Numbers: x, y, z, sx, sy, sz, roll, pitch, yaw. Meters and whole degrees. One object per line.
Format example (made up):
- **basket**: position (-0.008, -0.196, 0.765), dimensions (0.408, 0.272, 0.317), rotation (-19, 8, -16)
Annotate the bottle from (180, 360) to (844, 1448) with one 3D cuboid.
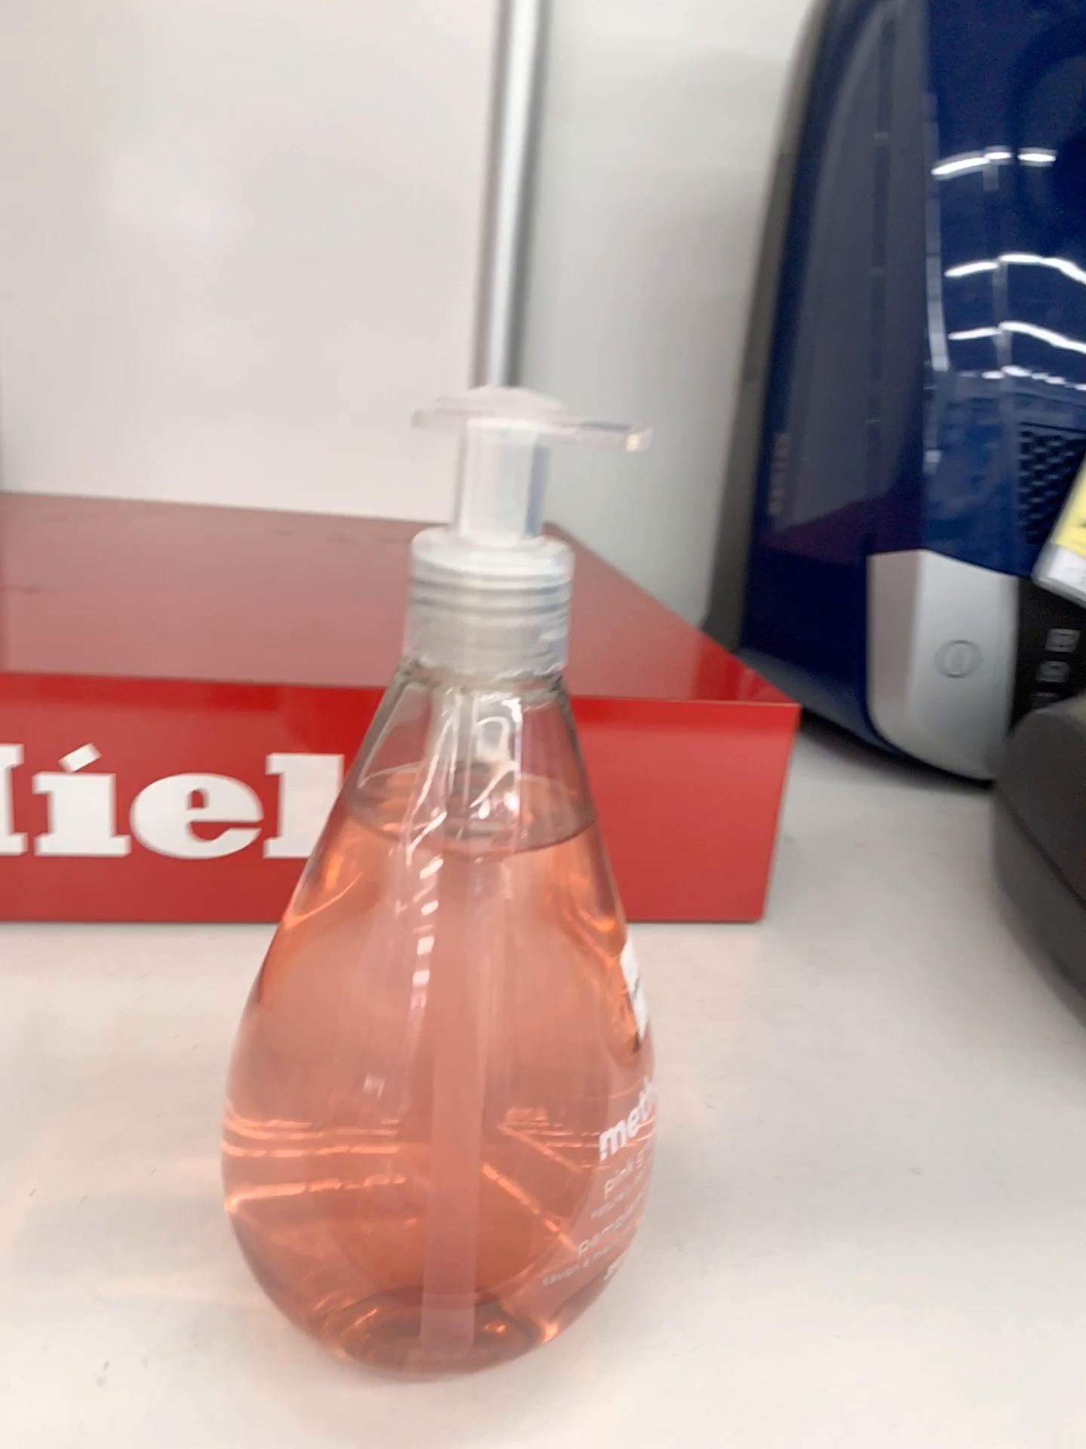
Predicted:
- **bottle**: position (-0.006, 0.025, 0.200), dimensions (0.077, 0.160, 0.080), rotation (5, 17, -2)
